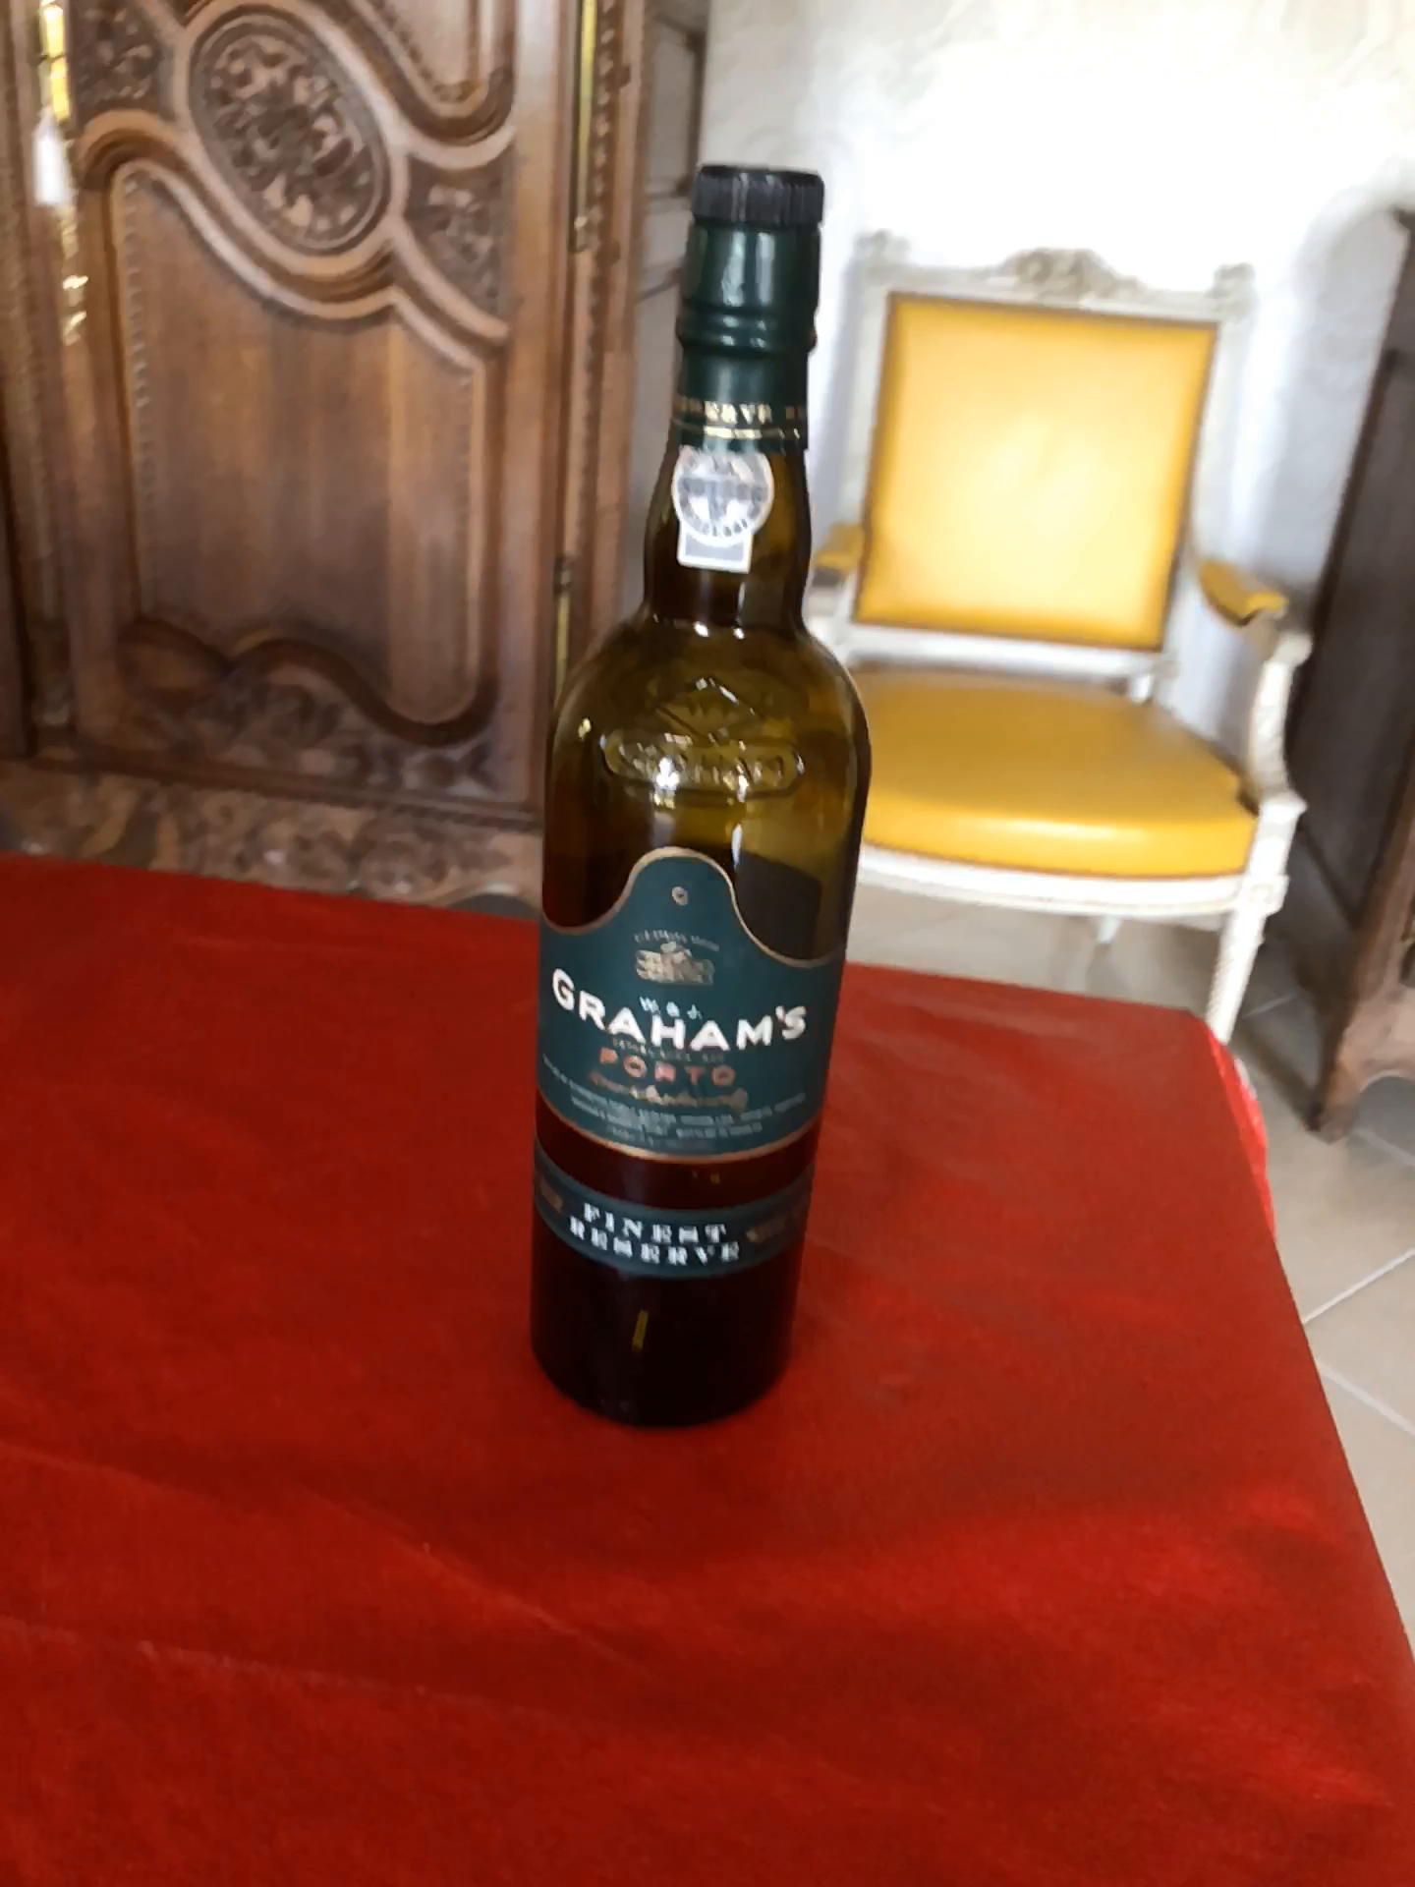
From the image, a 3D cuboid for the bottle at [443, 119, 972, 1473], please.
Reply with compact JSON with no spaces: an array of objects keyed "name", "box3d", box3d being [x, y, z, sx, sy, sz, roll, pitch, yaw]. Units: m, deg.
[{"name":"bottle","box3d":[-0.005,-0.024,0.375,0.090,0.298,0.091,4,26,-2]}]
